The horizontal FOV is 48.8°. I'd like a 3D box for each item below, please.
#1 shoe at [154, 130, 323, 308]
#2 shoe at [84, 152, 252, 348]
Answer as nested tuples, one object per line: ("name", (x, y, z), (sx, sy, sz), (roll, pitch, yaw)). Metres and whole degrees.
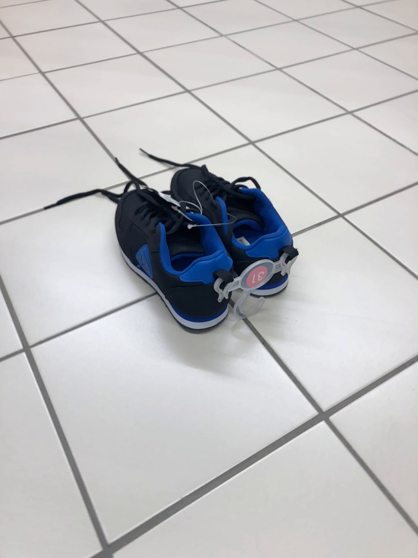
("shoe", (0.023, -0.076, 0.523), (0.076, 0.082, 0.208), (-24, 51, -22))
("shoe", (-0.050, -0.040, 0.489), (0.076, 0.082, 0.208), (-24, 51, -22))
